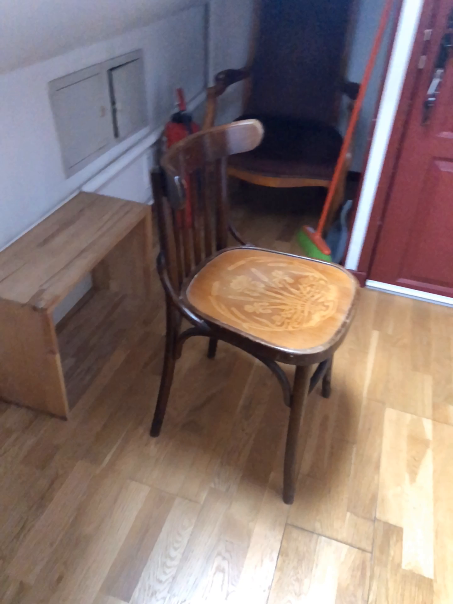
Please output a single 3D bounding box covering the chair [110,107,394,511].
[{"bbox_3d":[0.063,0.011,1.147,0.411,0.737,0.445,15,38,16],"label":"chair"}]
